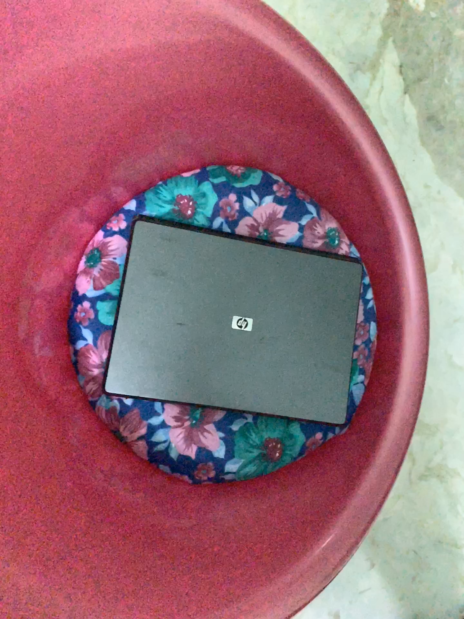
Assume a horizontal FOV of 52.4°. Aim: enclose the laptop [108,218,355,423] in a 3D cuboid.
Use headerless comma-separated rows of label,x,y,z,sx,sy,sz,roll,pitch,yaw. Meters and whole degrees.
laptop,0.011,0.019,0.618,0.304,0.003,0.222,10,83,-13
